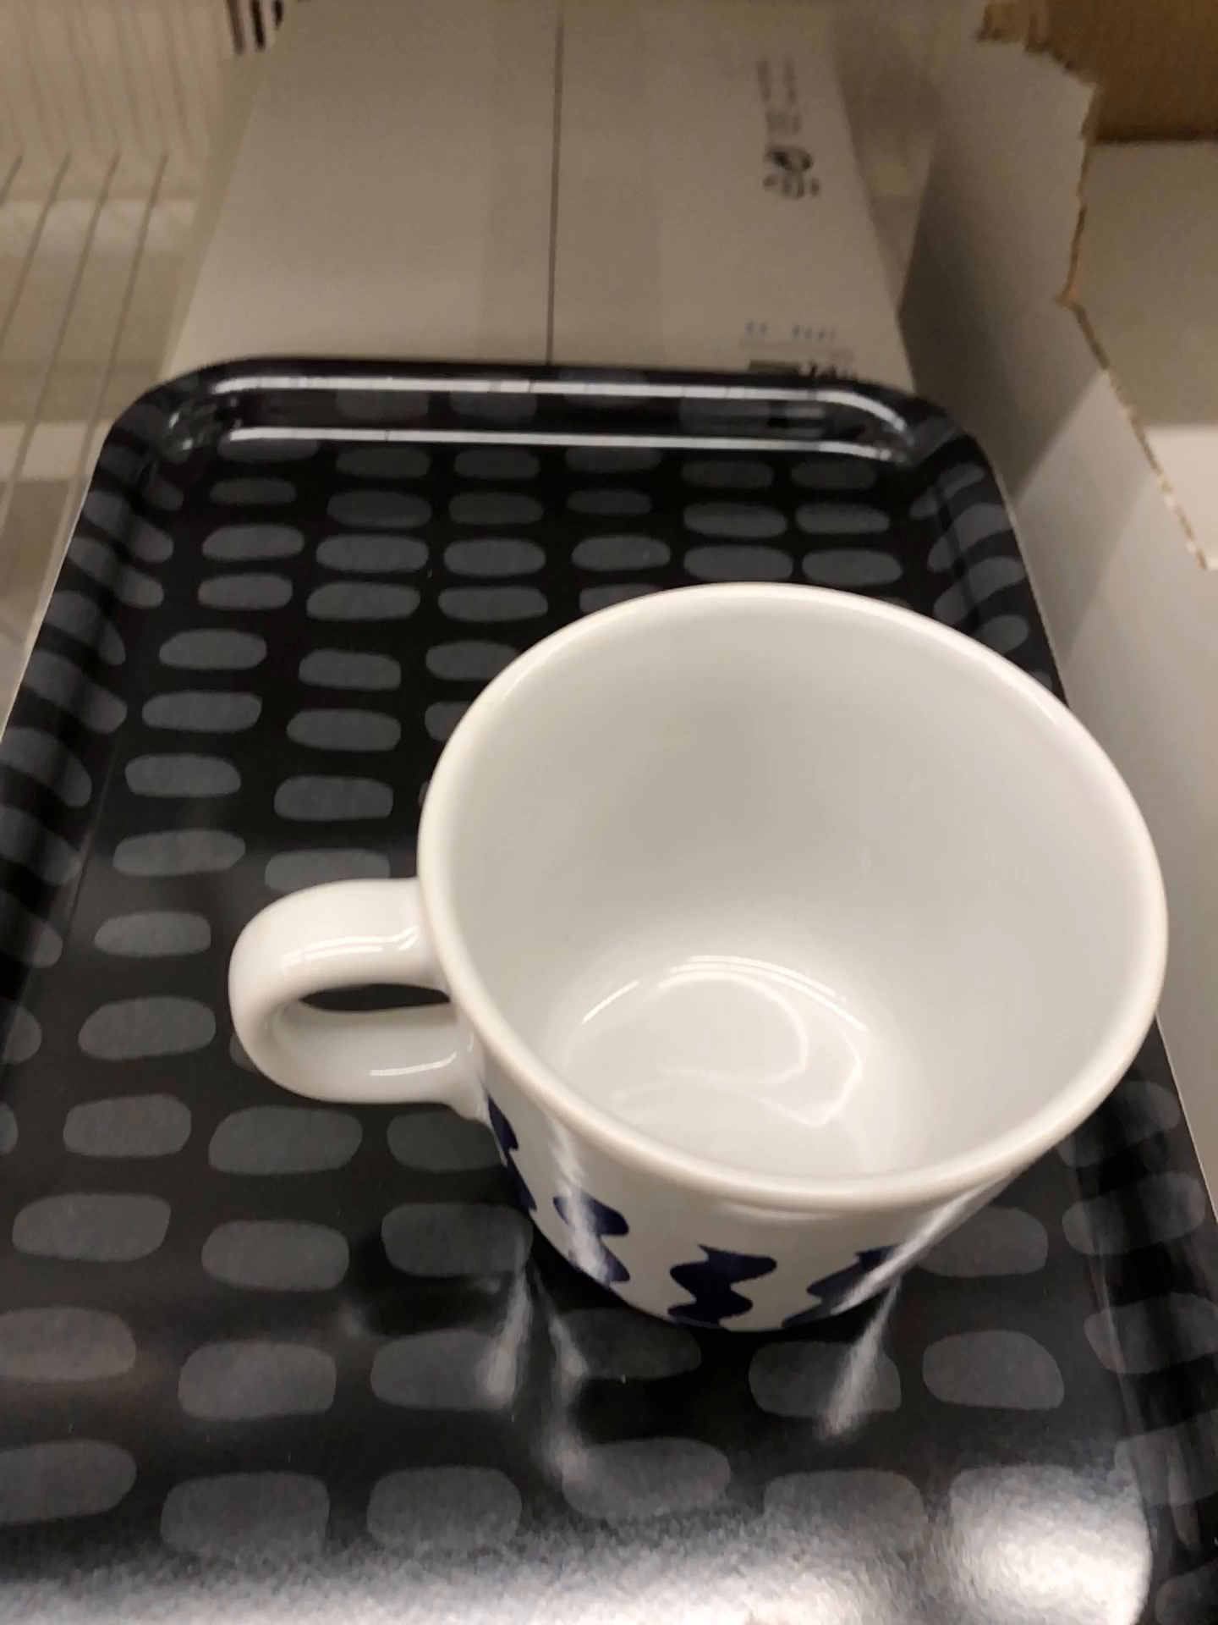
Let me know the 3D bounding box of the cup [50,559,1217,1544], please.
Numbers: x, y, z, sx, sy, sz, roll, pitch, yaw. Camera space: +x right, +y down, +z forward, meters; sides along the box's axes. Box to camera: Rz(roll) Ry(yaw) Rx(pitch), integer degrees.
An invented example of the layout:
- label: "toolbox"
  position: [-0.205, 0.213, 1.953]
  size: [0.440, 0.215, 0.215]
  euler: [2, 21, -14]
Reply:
- label: "cup"
  position: [0.004, 0.030, 0.184]
  size: [0.120, 0.080, 0.090]
  euler: [-5, 50, -6]
